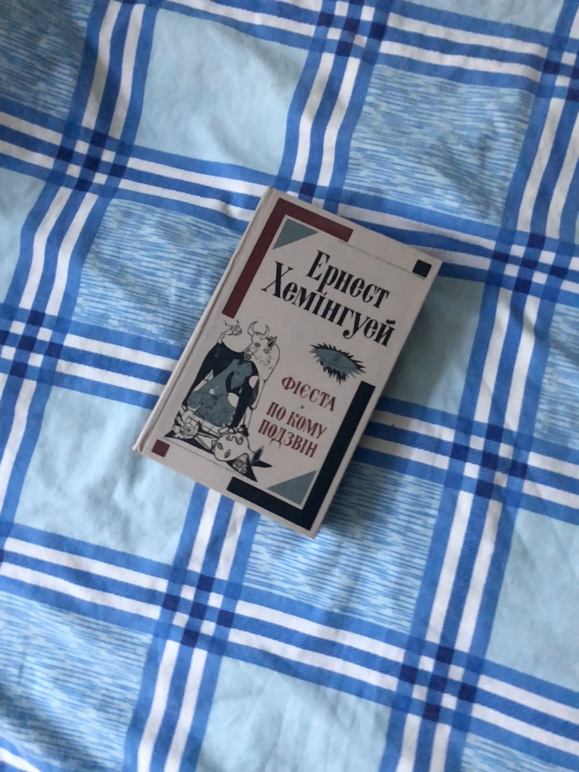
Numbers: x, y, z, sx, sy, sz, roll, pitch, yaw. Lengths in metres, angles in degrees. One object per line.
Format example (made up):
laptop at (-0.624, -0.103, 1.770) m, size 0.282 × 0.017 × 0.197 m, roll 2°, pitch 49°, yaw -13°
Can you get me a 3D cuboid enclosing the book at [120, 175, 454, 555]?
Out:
book at (0.001, -0.017, 0.447) m, size 0.142 × 0.040 × 0.220 m, roll 25°, pitch 83°, yaw 7°
